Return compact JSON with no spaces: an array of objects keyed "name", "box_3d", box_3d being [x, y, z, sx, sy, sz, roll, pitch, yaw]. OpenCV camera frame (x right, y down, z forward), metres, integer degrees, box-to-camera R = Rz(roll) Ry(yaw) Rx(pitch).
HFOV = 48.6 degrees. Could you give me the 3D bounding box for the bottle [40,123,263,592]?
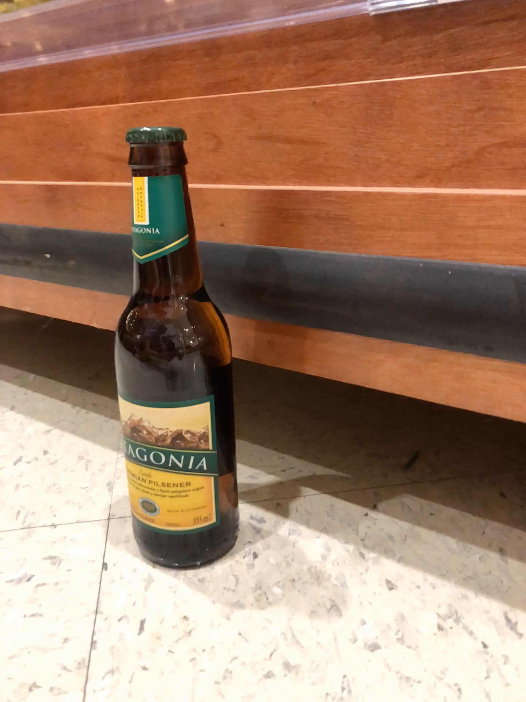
[{"name":"bottle","box_3d":[-0.050,0.002,0.299,0.070,0.219,0.060,11,23,35]}]
